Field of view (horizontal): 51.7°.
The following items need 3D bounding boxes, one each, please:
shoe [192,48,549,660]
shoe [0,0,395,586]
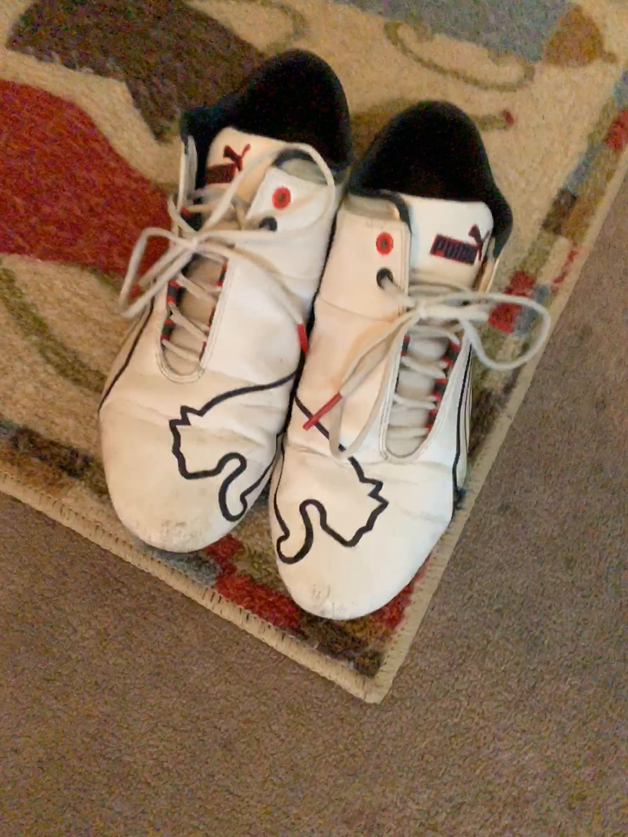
[{"bbox_3d":[0.037,-0.041,0.337,0.100,0.100,0.291,16,66,1],"label":"shoe"},{"bbox_3d":[-0.045,-0.077,0.337,0.100,0.090,0.291,16,66,1],"label":"shoe"}]
